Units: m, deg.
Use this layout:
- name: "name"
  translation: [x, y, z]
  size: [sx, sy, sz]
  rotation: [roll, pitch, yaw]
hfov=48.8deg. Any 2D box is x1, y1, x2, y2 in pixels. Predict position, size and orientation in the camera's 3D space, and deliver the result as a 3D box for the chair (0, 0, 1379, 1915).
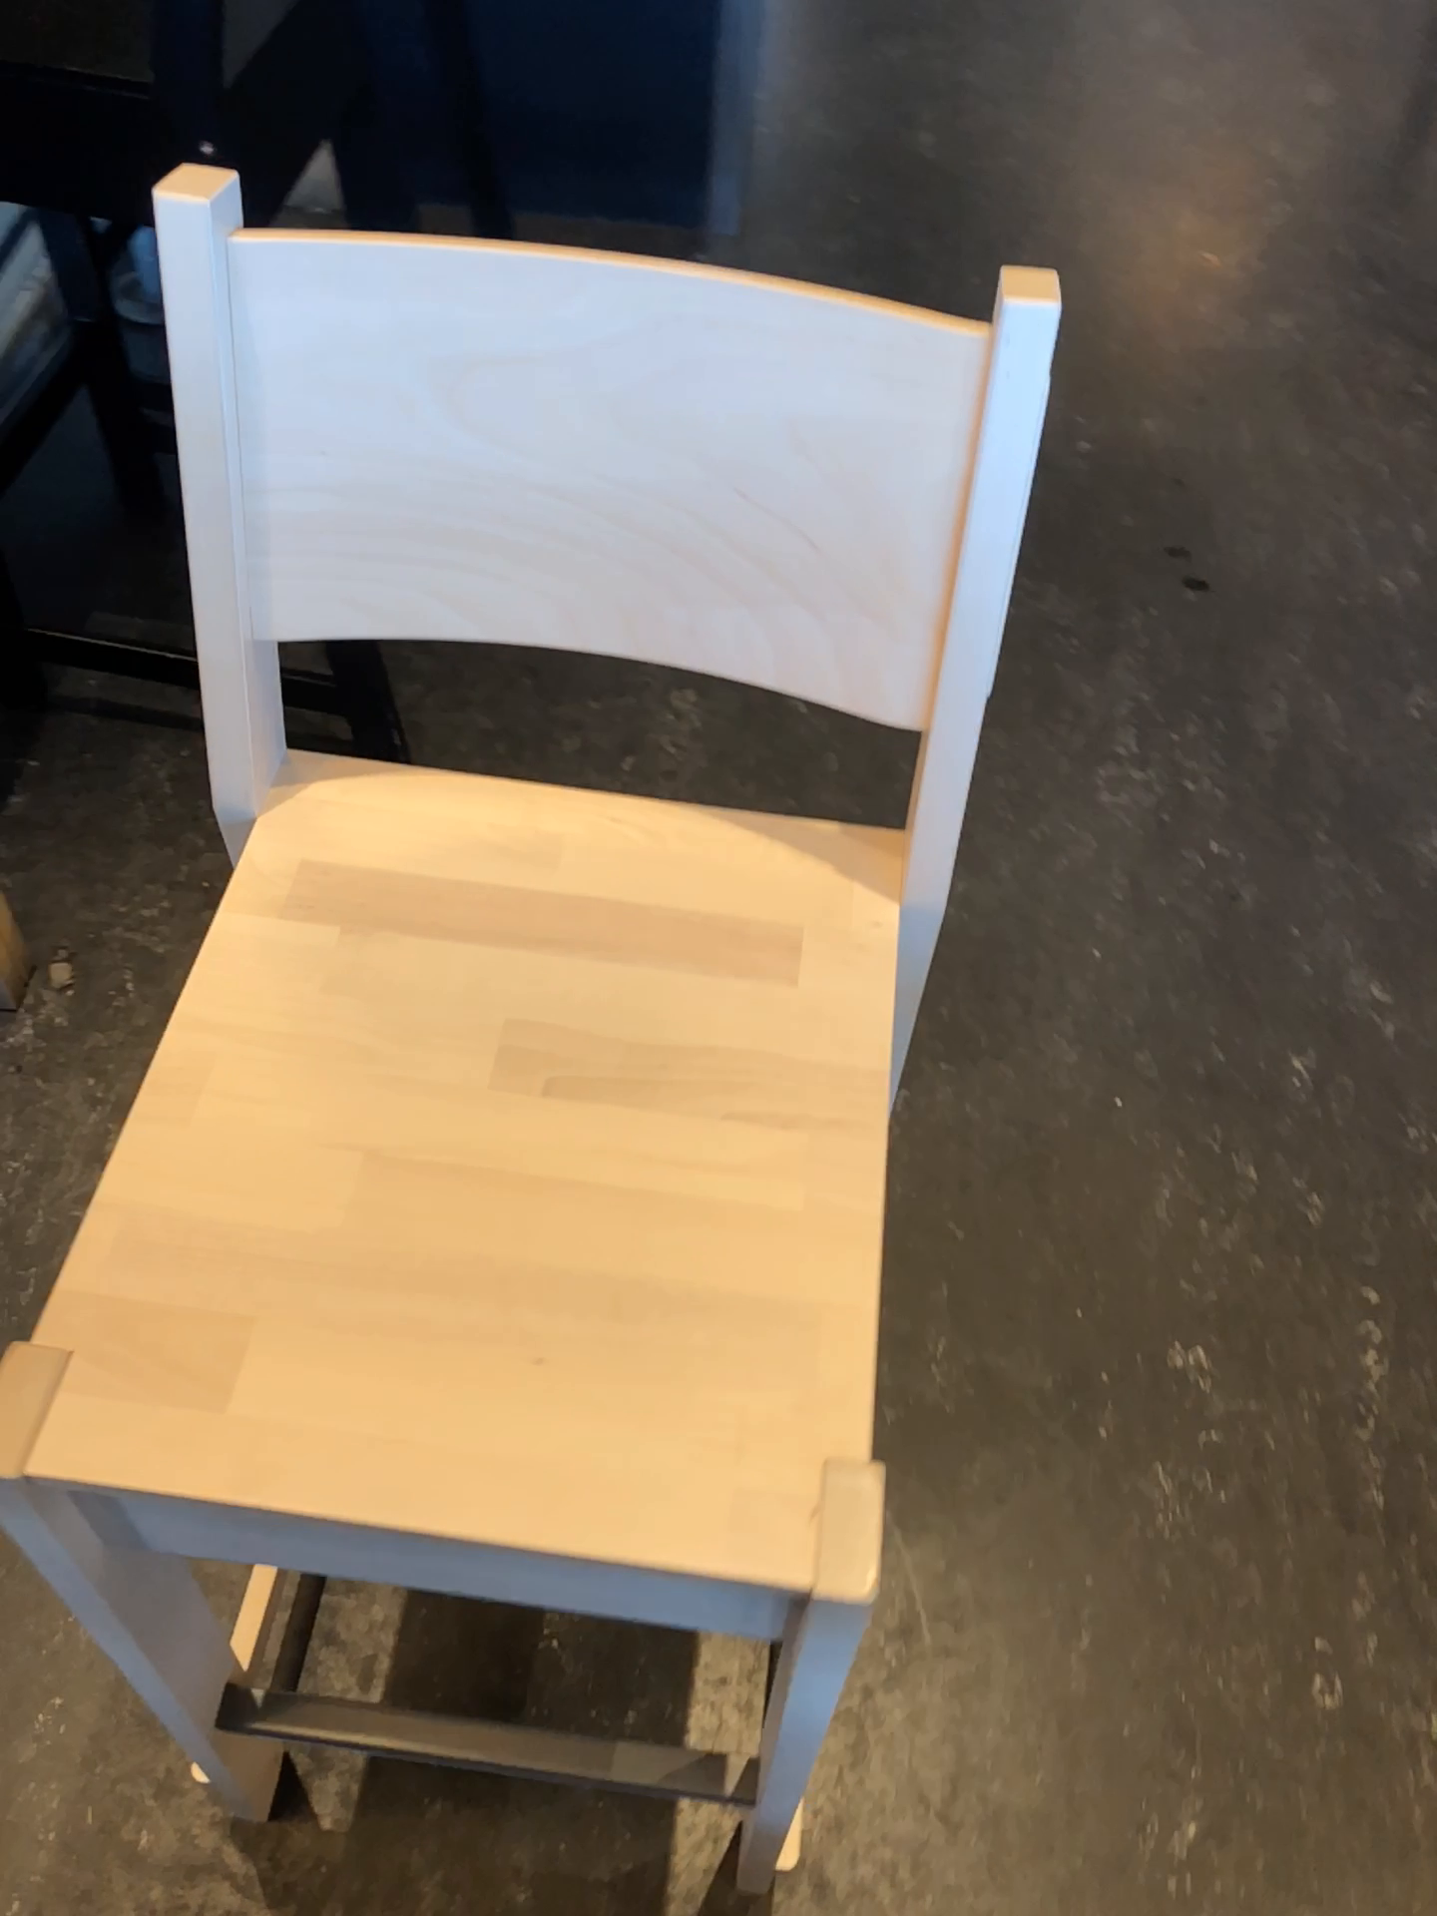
- name: "chair"
  translation: [-0.097, 0.118, 0.866]
  size: [0.460, 0.977, 0.541]
  rotation: [8, 52, 1]
